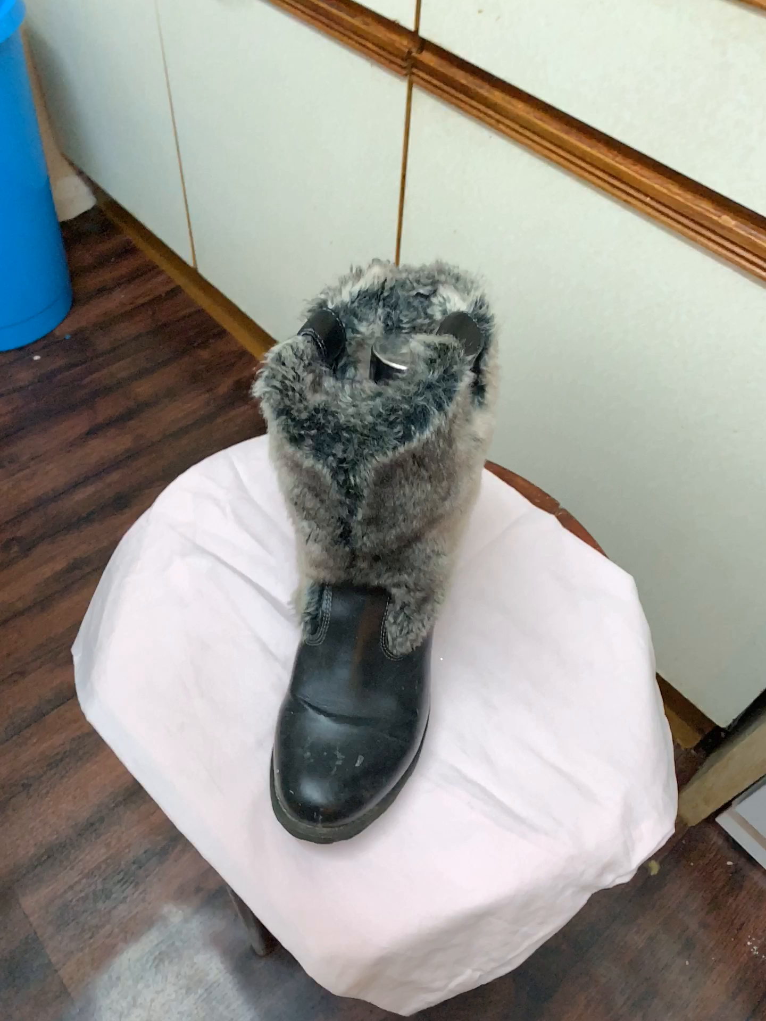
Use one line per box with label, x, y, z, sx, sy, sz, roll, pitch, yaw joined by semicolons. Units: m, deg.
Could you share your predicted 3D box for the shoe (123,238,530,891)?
shoe;-0.012;0.034;0.454;0.120;0.238;0.272;12;52;5
